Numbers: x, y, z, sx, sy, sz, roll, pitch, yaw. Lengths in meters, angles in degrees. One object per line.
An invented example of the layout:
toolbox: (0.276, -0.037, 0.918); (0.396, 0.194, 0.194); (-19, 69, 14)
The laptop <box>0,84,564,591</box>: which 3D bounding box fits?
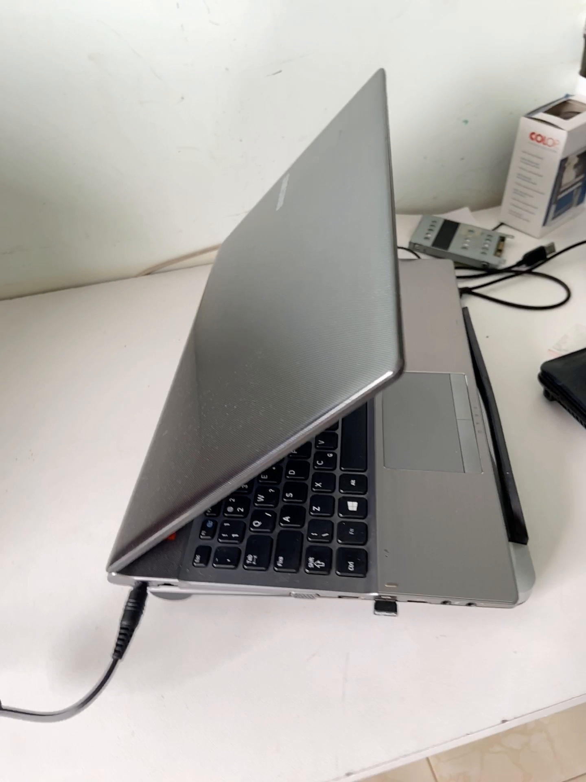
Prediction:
laptop: (0.012, -0.072, 0.431); (0.230, 0.164, 0.361); (2, 43, 4)
